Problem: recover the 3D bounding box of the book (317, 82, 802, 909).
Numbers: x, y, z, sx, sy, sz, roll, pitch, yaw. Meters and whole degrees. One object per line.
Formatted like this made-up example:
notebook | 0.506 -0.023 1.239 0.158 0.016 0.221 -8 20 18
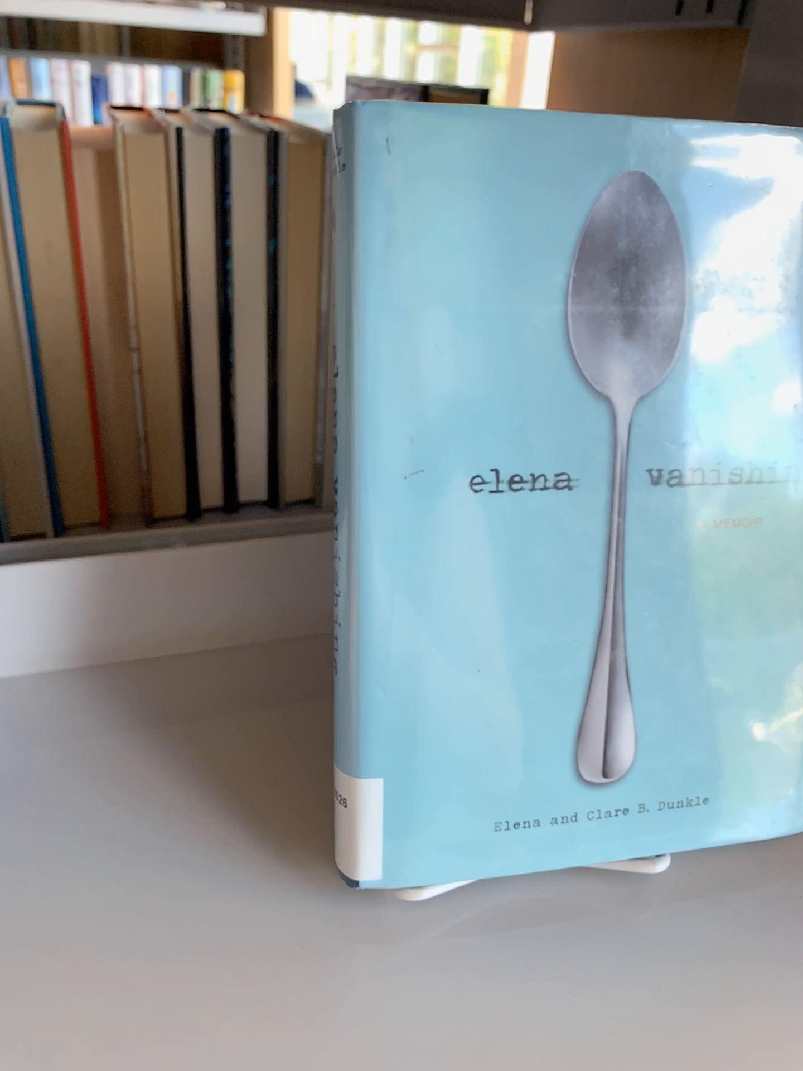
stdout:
book | 0.059 -0.007 0.238 0.159 0.203 0.035 -2 11 -12
